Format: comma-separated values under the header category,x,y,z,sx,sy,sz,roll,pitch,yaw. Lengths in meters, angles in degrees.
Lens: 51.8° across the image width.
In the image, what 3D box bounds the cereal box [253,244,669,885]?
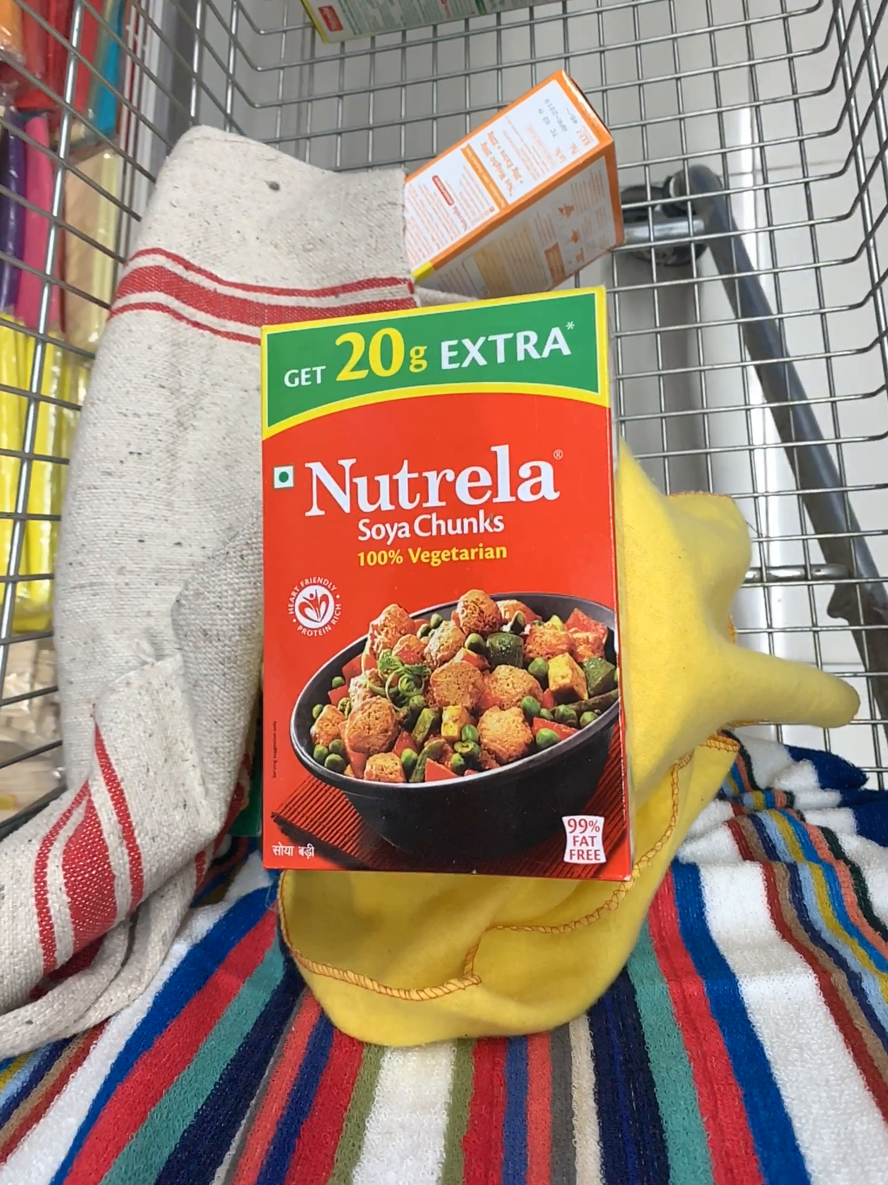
category,x,y,z,sx,sy,sz,roll,pitch,yaw
cereal box,0.007,-0.005,0.297,0.120,0.060,0.180,-3,83,14
